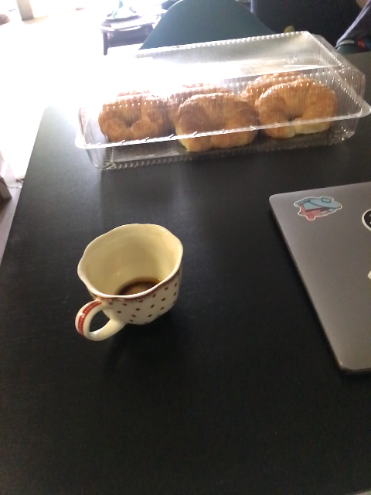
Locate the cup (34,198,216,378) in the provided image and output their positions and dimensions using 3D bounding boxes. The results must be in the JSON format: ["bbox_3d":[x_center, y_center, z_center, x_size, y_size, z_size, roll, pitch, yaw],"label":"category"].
[{"bbox_3d":[-0.047,0.029,0.358,0.090,0.070,0.121,28,52,33],"label":"cup"}]
